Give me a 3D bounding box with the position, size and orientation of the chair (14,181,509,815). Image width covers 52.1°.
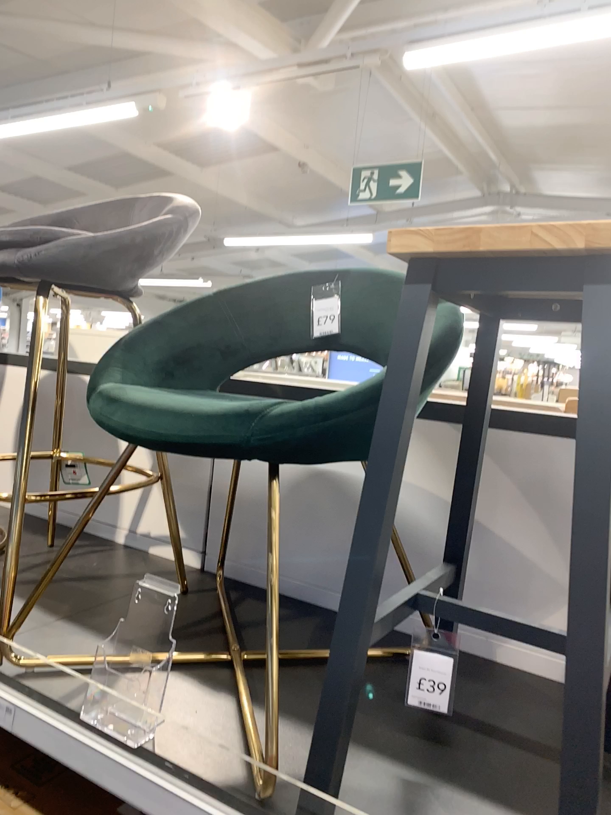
[{"bbox_3d":[-0.052,0.084,1.139,0.630,0.776,0.554,7,3,30],"label":"chair"}]
